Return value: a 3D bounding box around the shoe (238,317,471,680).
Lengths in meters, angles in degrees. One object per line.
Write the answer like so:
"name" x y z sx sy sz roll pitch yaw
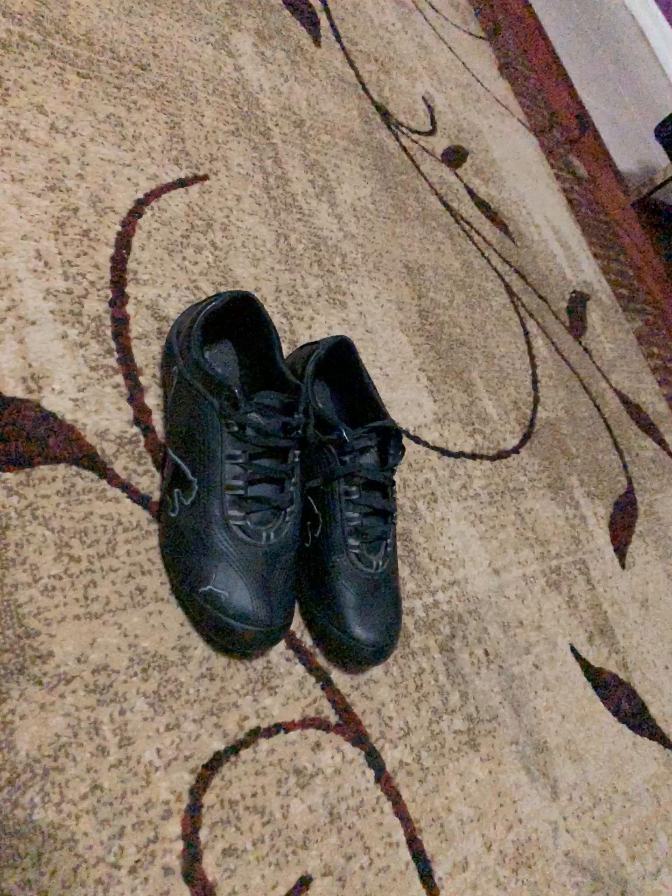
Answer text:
"shoe" 0.007 0.032 0.512 0.088 0.073 0.244 2 64 -40

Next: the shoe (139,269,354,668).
"shoe" -0.067 0.011 0.462 0.086 0.073 0.244 8 61 -38
